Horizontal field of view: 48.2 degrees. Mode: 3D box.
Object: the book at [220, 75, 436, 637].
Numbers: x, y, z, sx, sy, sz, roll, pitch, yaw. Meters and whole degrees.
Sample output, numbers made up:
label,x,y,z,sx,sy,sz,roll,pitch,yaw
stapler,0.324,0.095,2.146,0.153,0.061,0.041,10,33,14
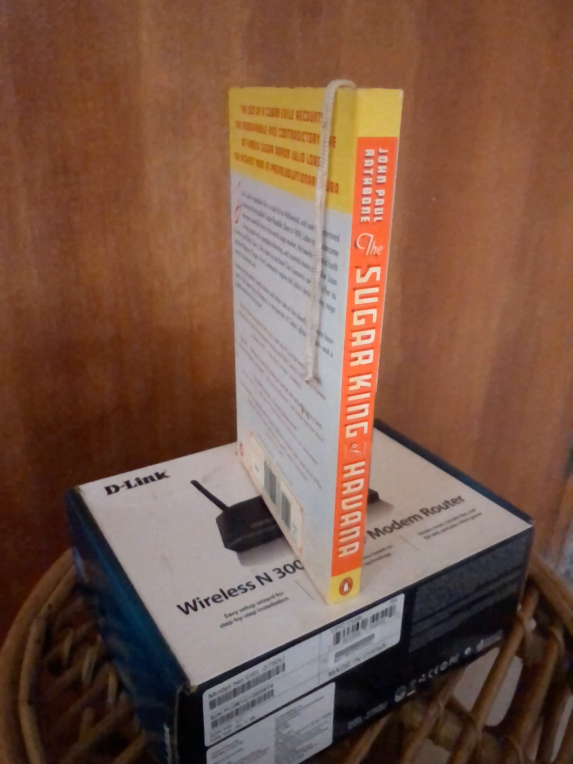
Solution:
label,x,y,z,sx,sy,sz,roll,pitch,yaw
book,0.006,-0.022,0.290,0.030,0.209,0.151,-8,27,-16
